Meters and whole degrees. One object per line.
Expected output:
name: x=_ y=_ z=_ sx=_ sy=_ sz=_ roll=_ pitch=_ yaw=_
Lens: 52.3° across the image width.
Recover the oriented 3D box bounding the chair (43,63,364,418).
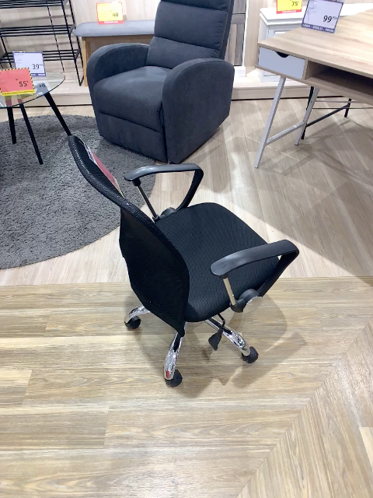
chair: x=0.019 y=-0.033 z=1.313 sx=0.601 sy=0.866 sz=0.643 roll=-24 pitch=48 yaw=-21
